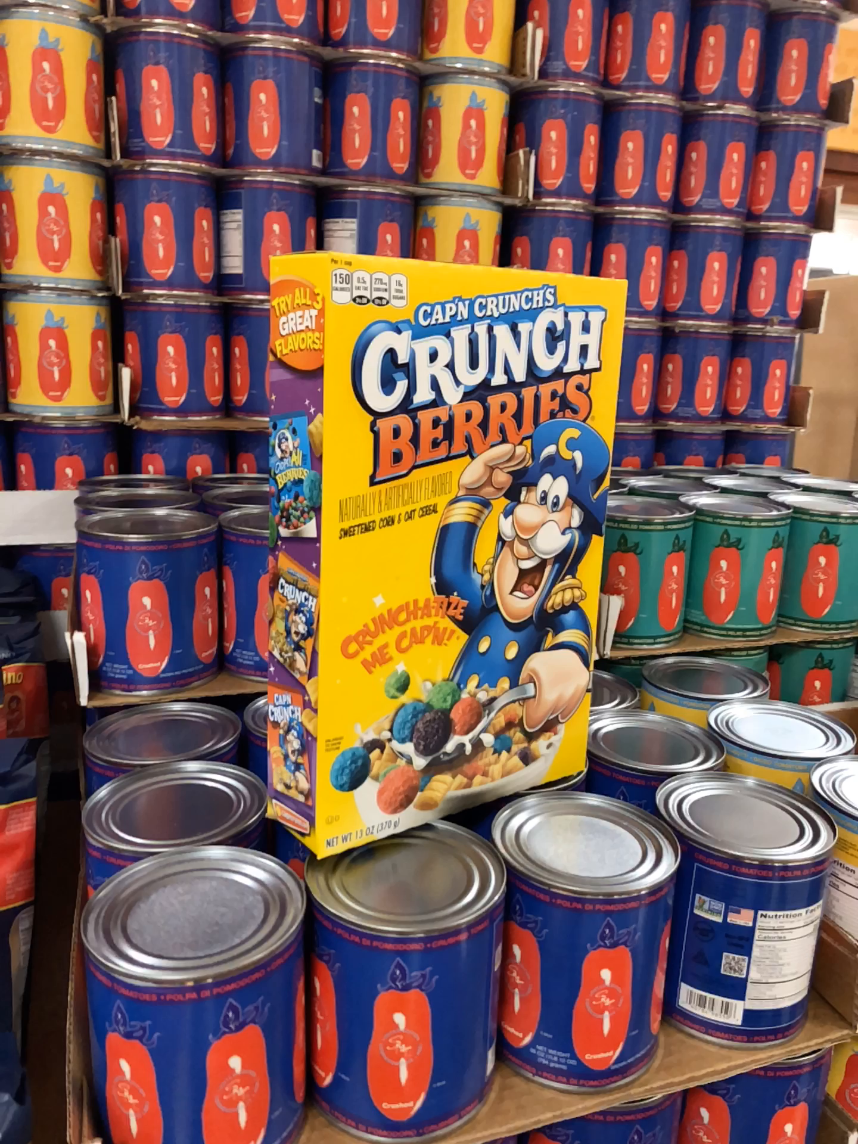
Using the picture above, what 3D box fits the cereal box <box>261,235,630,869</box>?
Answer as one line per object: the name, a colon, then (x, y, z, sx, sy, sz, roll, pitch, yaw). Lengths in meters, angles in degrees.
cereal box: (0.009, -0.015, 0.513, 0.190, 0.299, 0.060, -8, 17, -36)
